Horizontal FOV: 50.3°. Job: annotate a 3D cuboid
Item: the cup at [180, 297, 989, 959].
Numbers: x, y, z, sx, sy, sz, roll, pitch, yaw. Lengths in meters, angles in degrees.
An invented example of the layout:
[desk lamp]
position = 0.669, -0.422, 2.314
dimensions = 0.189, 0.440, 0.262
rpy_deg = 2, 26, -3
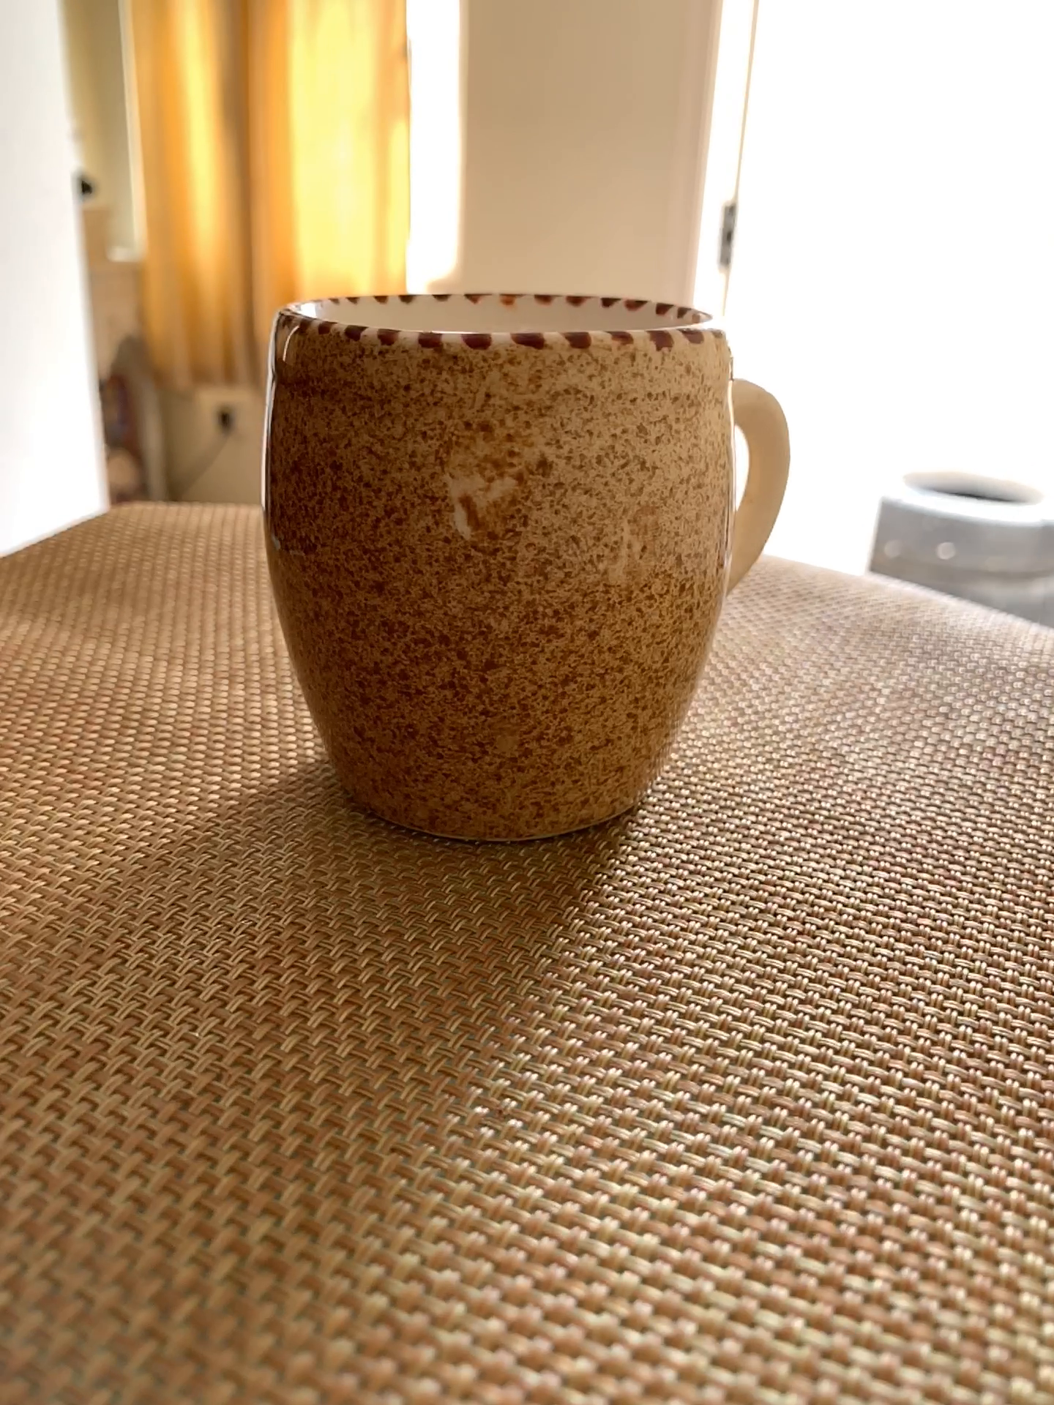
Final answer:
[cup]
position = 0.004, -0.021, 0.170
dimensions = 0.090, 0.070, 0.070
rpy_deg = -9, 26, -27
